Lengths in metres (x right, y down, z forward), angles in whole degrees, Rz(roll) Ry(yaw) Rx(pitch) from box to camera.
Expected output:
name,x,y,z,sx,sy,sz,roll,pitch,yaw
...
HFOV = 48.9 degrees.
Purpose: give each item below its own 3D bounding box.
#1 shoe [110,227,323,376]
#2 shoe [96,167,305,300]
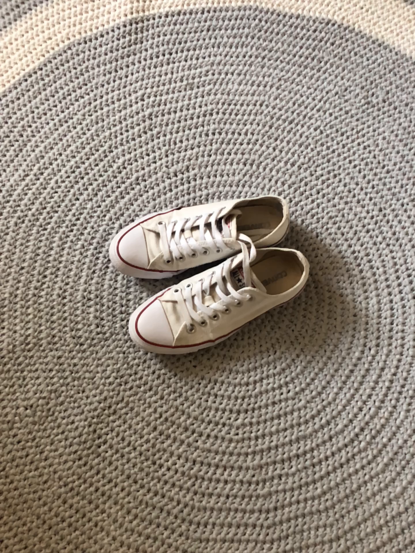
name,x,y,z,sx,sy,sz,roll,pitch,yaw
shoe,0.011,0.035,0.590,0.240,0.070,0.100,-22,78,-6
shoe,-0.010,-0.056,0.612,0.247,0.070,0.100,-16,77,-4
